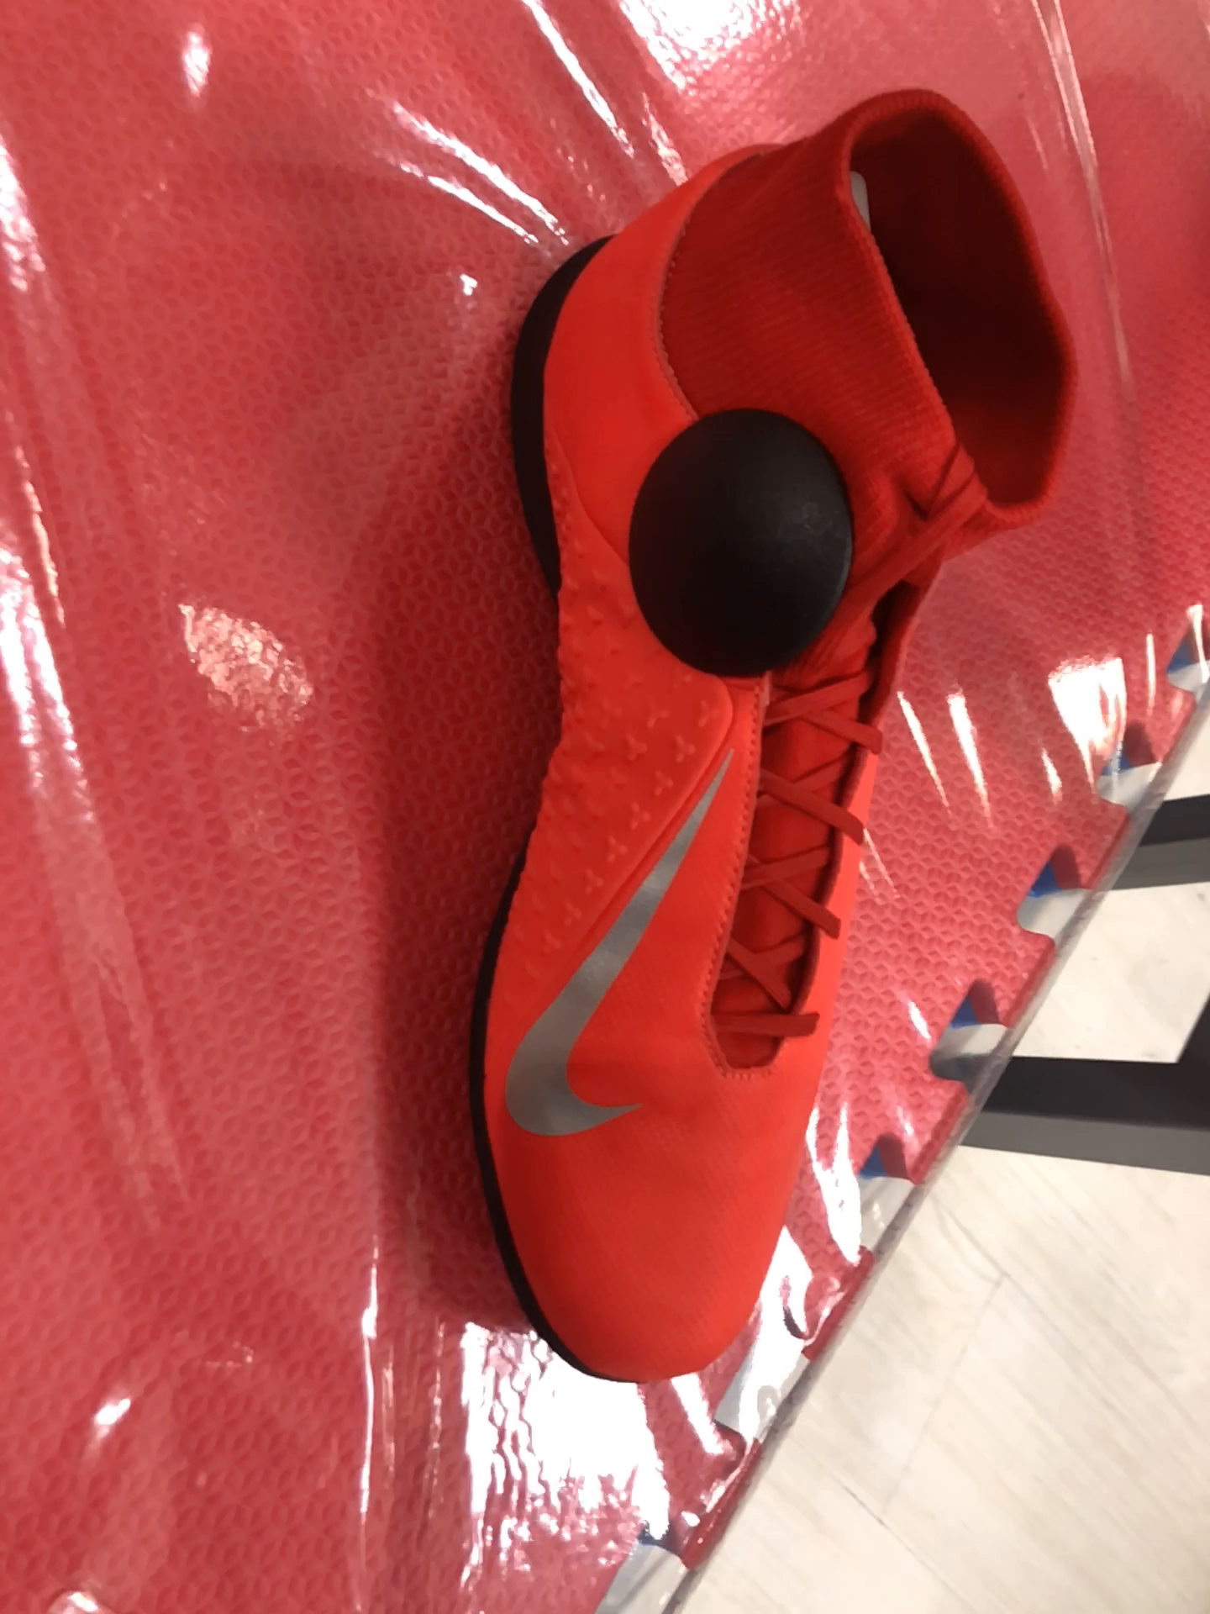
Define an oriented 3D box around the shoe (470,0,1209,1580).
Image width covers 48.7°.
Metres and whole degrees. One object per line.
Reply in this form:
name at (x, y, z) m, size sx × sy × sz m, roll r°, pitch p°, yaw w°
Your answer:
shoe at (0.039, -0.004, 0.280) m, size 0.090 × 0.119 × 0.250 m, roll 5°, pitch 80°, yaw -30°
